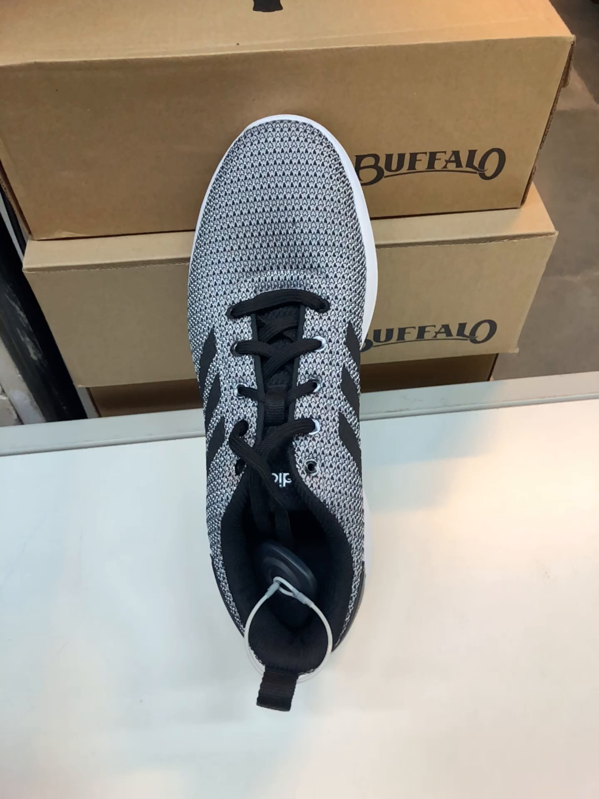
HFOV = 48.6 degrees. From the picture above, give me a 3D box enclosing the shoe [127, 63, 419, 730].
[{"bbox_3d":[-0.011,-0.001,0.335,0.112,0.098,0.282,-3,87,3],"label":"shoe"}]
